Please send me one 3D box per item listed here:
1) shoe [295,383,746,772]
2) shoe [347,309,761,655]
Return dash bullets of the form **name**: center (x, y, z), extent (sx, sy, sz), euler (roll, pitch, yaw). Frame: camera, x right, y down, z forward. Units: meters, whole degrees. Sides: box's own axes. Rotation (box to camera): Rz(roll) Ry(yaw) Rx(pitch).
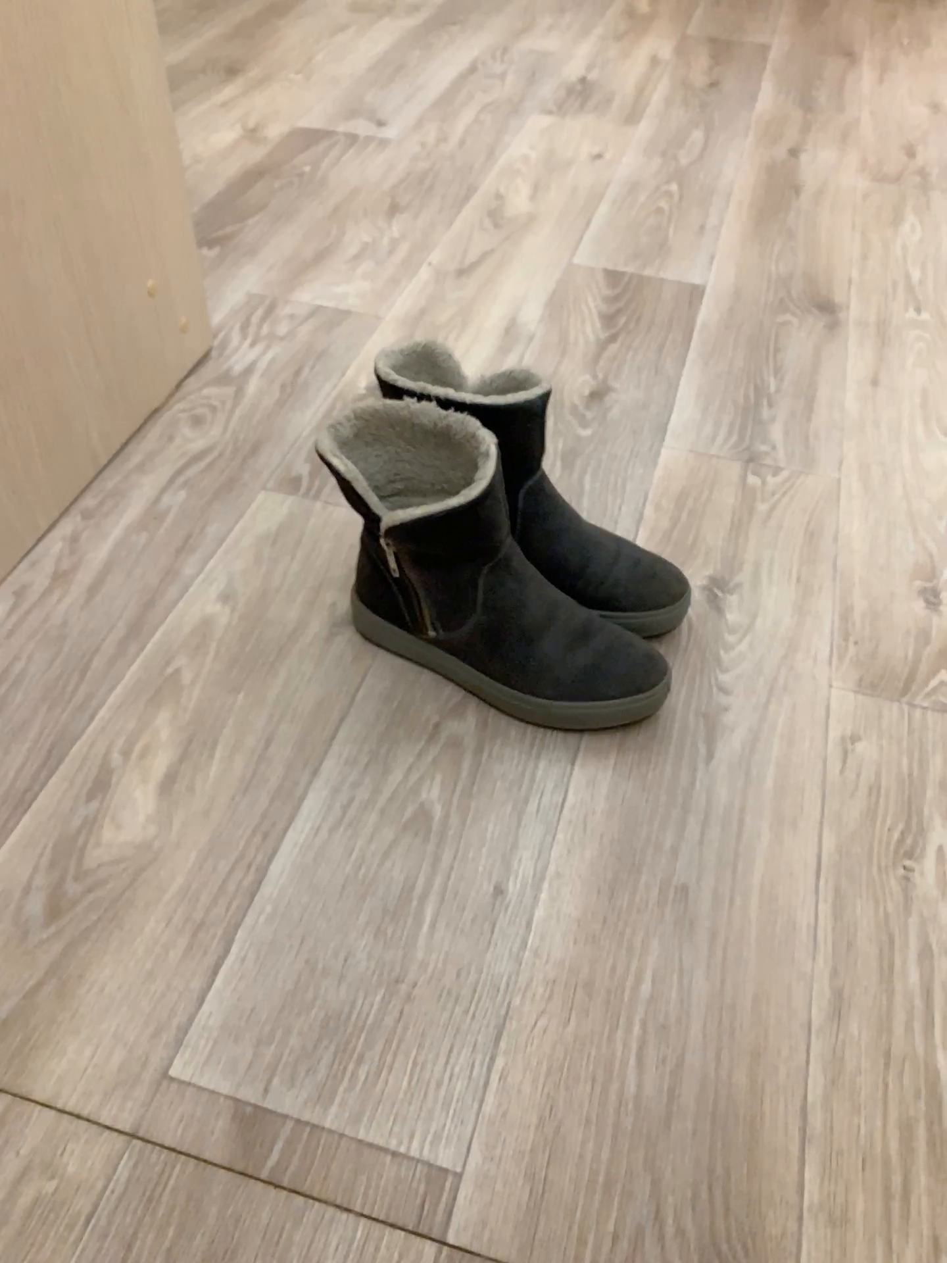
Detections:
- **shoe**: center (0.026, -0.039, 0.689), extent (0.270, 0.179, 0.100), euler (19, 48, 15)
- **shoe**: center (0.053, -0.114, 0.741), extent (0.270, 0.169, 0.100), euler (18, 48, 14)
